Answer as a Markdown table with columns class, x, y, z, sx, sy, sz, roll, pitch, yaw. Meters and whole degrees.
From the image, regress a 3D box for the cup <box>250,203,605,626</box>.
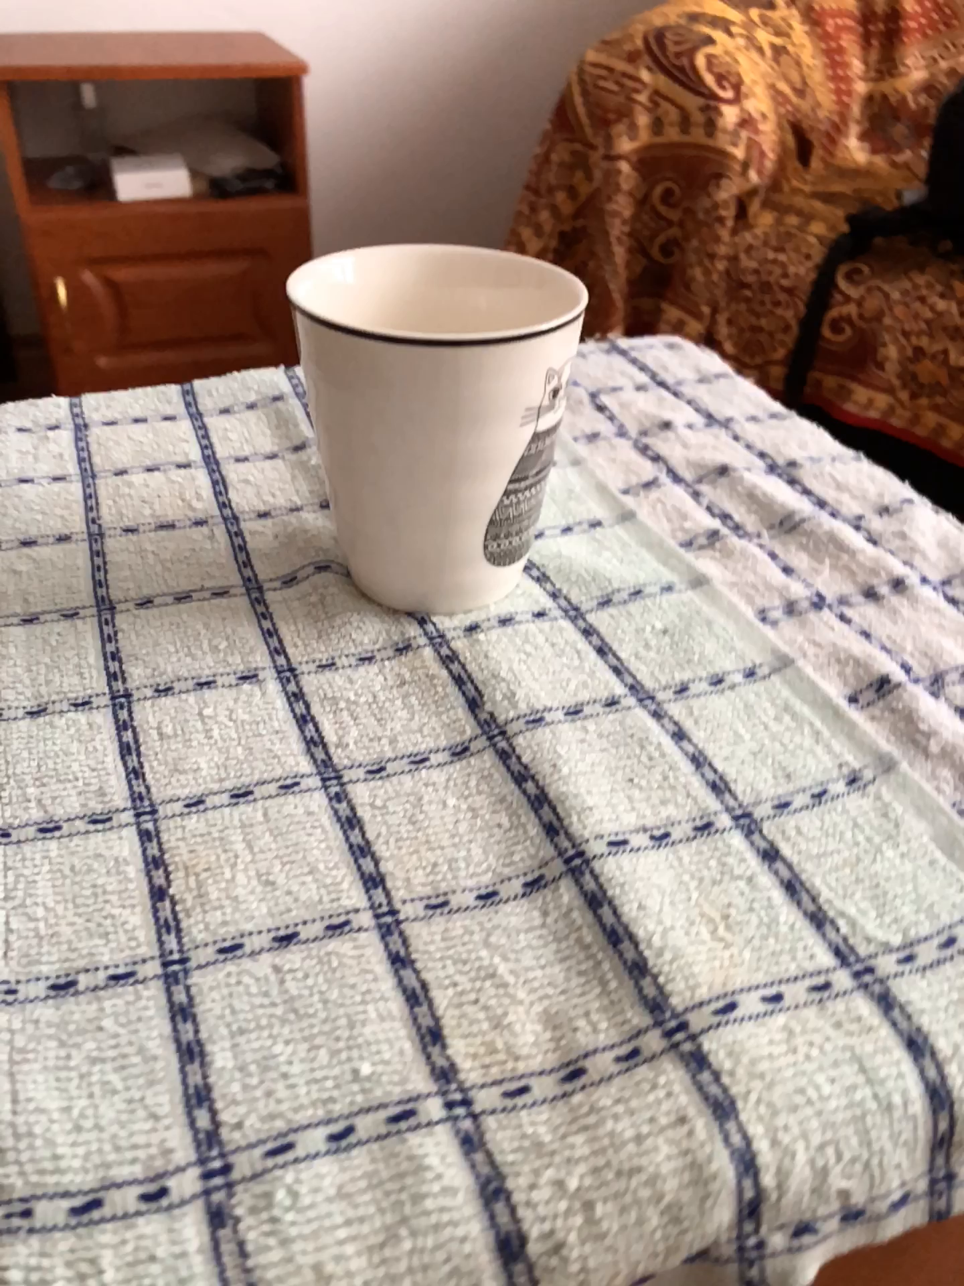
| class | x | y | z | sx | sy | sz | roll | pitch | yaw |
| --- | --- | --- | --- | --- | --- | --- | --- | --- | --- |
| cup | -0.011 | -0.082 | 0.356 | 0.090 | 0.090 | 0.124 | 6 | 35 | 5 |
